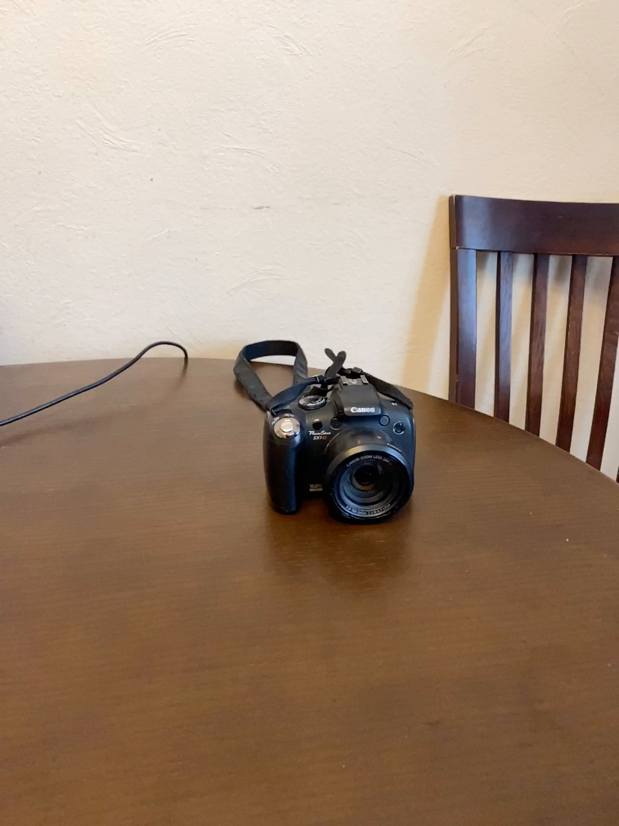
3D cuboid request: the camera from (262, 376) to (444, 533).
[{"bbox_3d":[0.026,0.028,0.481,0.123,0.088,0.082,-1,23,-5],"label":"camera"}]
